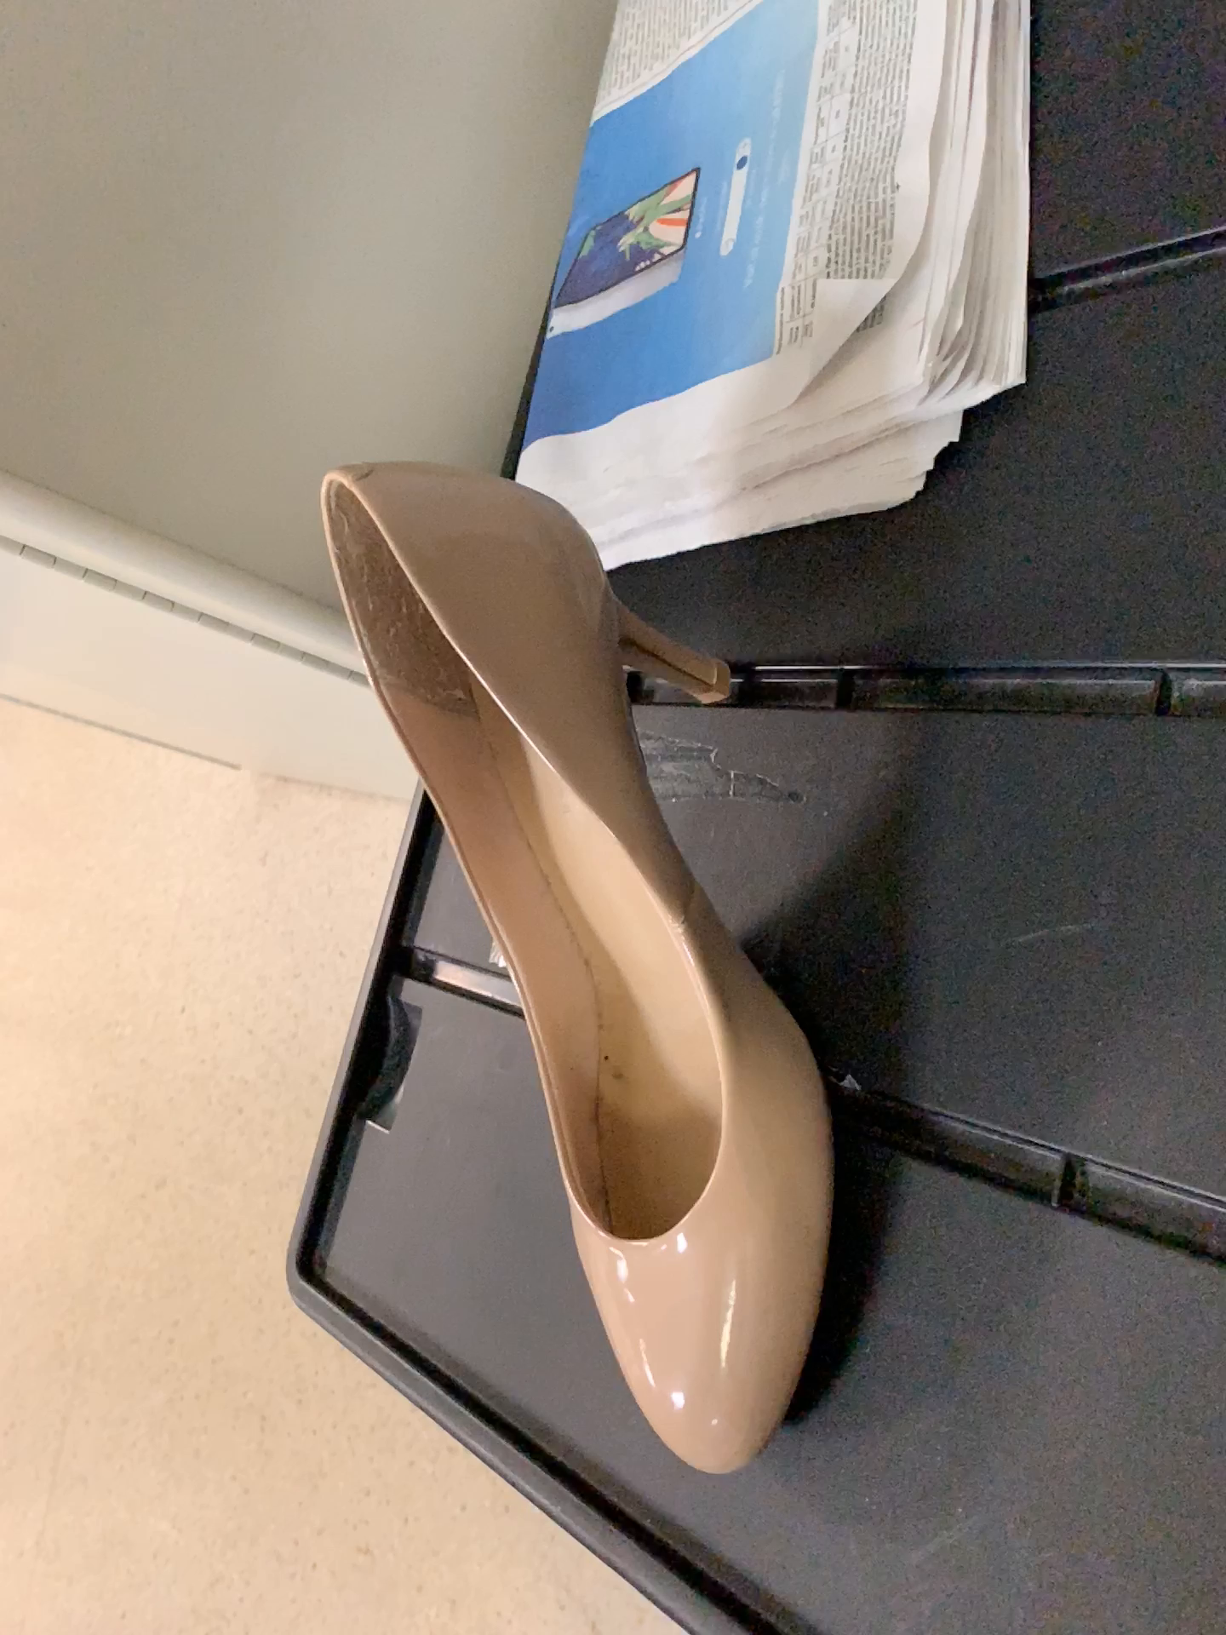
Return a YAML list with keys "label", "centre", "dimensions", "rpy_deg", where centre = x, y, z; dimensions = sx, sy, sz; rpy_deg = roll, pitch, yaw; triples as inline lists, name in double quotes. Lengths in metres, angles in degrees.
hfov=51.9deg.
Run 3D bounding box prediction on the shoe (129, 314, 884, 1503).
- label: "shoe"
  centre: [-0.013, 0.027, 0.325]
  dimensions: [0.097, 0.140, 0.240]
  rpy_deg: [-14, 64, 45]
